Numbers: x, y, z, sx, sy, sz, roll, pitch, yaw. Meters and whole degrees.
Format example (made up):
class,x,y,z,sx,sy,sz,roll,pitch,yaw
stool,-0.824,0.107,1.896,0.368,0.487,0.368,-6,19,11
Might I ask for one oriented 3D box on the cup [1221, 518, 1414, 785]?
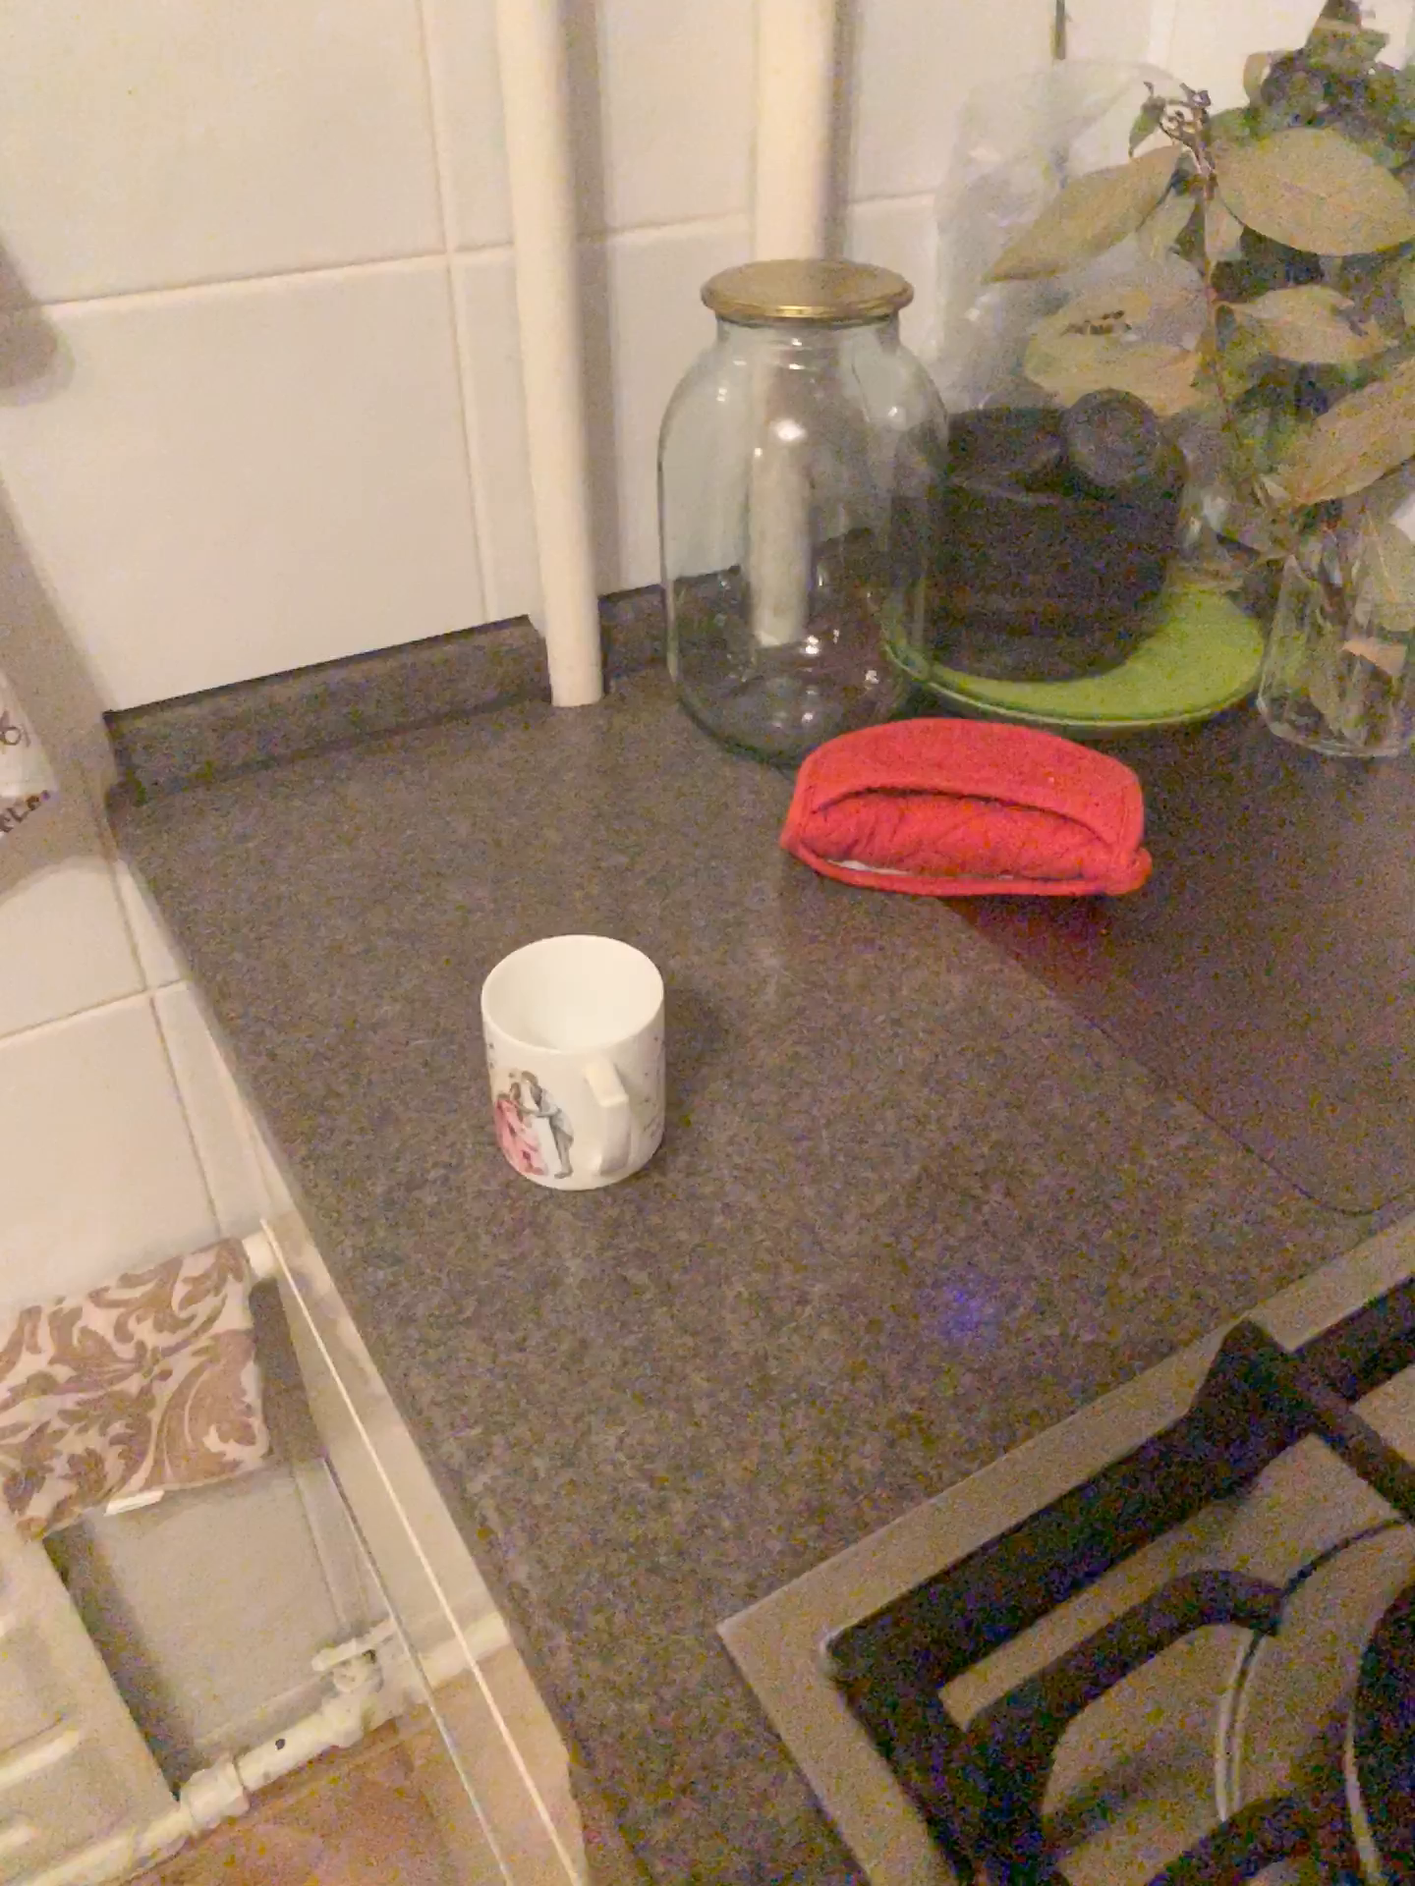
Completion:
class,x,y,z,sx,sy,sz,roll,pitch,yaw
cup,0.299,-0.138,0.680,0.079,0.091,0.054,28,45,34

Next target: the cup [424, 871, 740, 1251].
class,x,y,z,sx,sy,sz,roll,pitch,yaw
cup,-0.040,0.034,0.455,0.064,0.061,0.090,-18,40,-22
